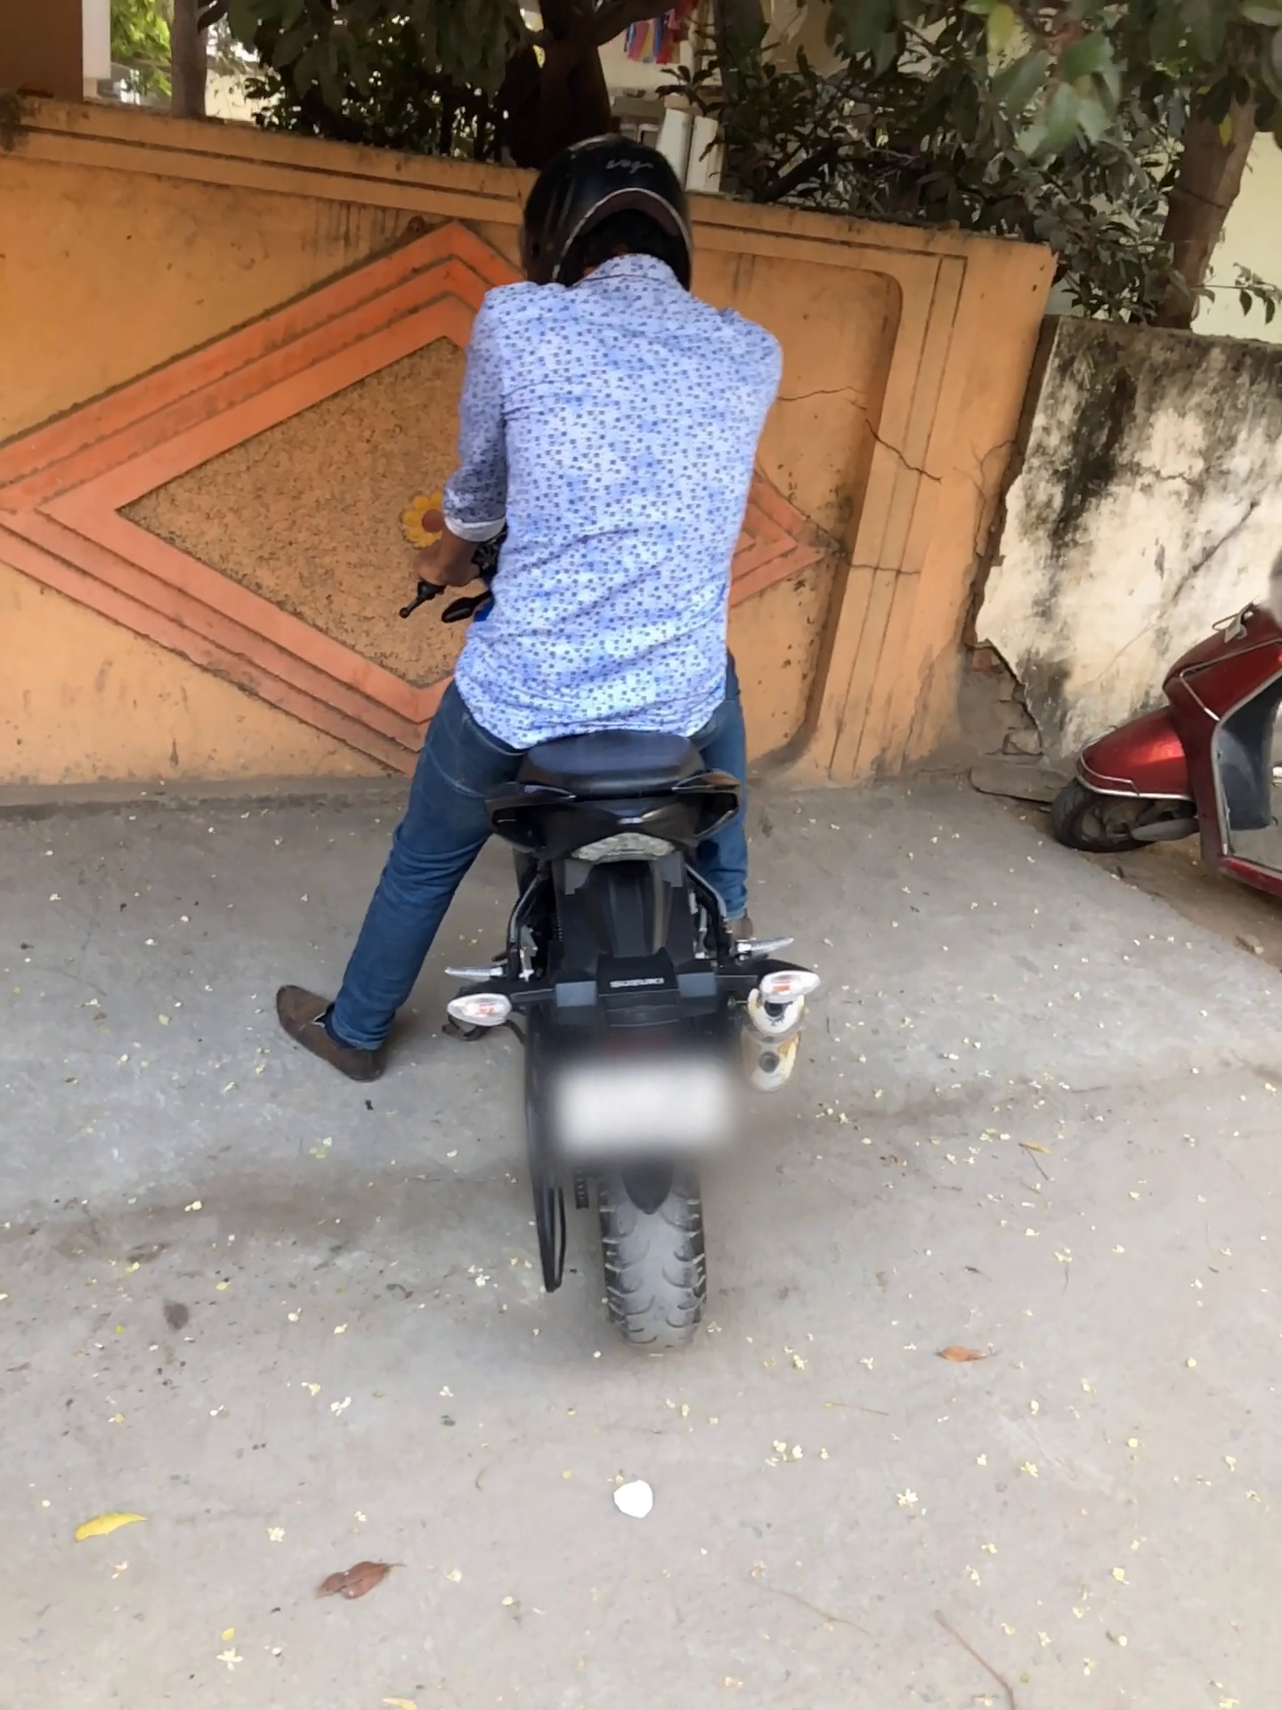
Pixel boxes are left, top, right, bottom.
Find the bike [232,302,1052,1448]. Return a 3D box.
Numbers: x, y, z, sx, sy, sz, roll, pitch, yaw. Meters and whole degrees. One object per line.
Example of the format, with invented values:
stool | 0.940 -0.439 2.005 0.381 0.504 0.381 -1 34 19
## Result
bike | -0.254 -0.175 2.452 0.794 1.188 1.898 2 26 -14
